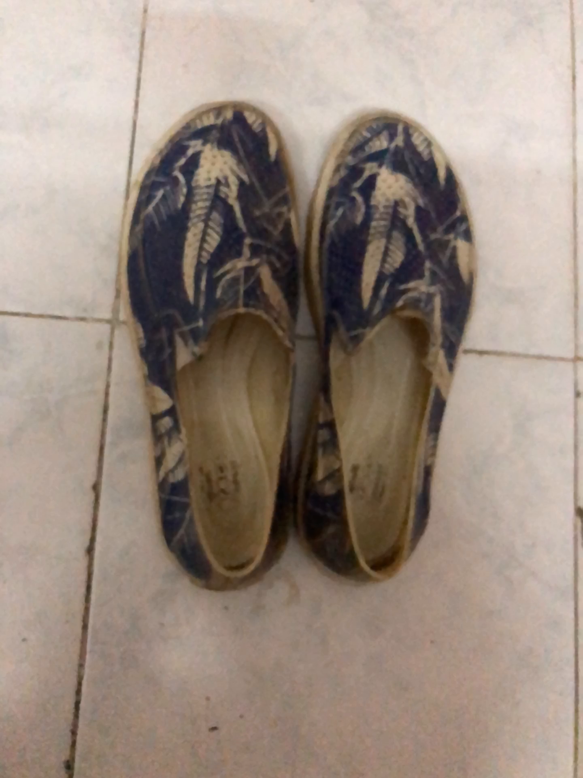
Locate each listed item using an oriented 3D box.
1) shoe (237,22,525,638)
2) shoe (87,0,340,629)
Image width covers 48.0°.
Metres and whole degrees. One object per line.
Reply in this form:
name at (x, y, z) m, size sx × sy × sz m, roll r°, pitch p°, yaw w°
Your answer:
shoe at (0.050, -0.033, 0.371) m, size 0.110 × 0.100 × 0.300 m, roll 7°, pitch 81°, yaw 2°
shoe at (-0.046, -0.043, 0.363) m, size 0.110 × 0.100 × 0.310 m, roll -2°, pitch 82°, yaw -8°
